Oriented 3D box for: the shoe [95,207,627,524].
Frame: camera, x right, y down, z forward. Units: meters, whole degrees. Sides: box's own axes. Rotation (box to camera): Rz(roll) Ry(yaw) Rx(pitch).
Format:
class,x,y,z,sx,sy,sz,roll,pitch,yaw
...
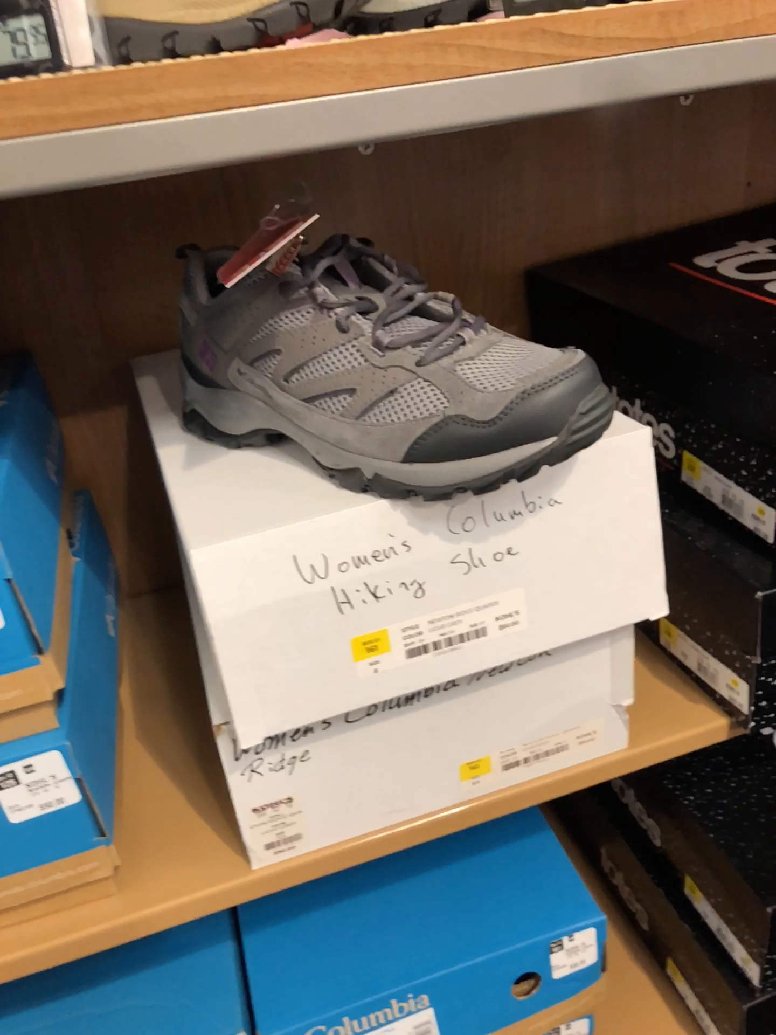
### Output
class,x,y,z,sx,sy,sz,roll,pitch,yaw
shoe,-0.020,-0.097,0.465,0.268,0.114,0.104,14,35,36
